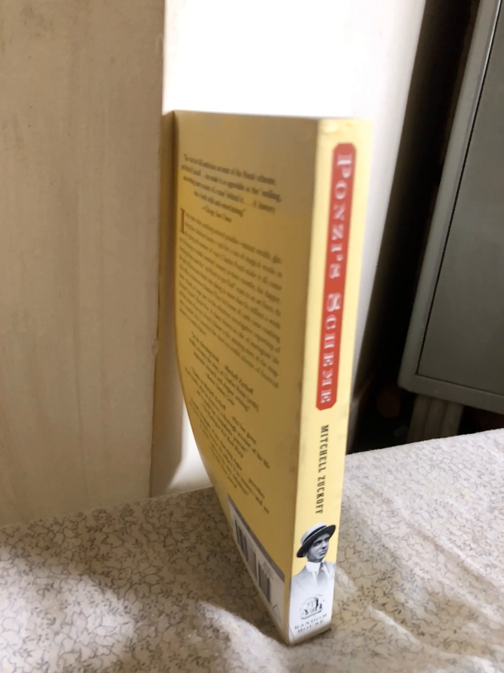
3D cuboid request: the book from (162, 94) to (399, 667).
[{"bbox_3d":[-0.003,0.007,0.251,0.040,0.209,0.140,-6,24,-18],"label":"book"}]
